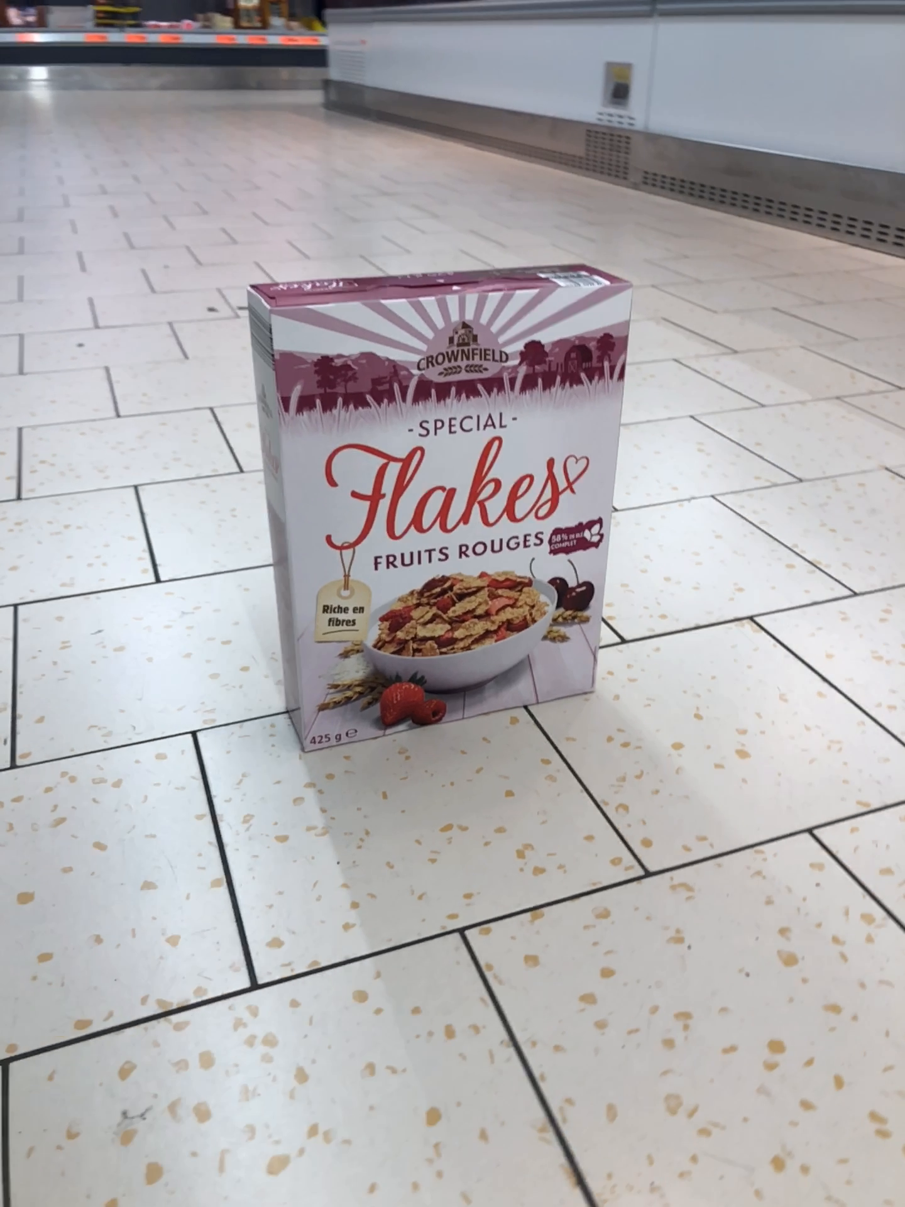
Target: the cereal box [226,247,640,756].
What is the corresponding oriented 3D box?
[{"bbox_3d":[-0.009,-0.056,0.563,0.200,0.259,0.060,-10,30,-17],"label":"cereal box"}]
